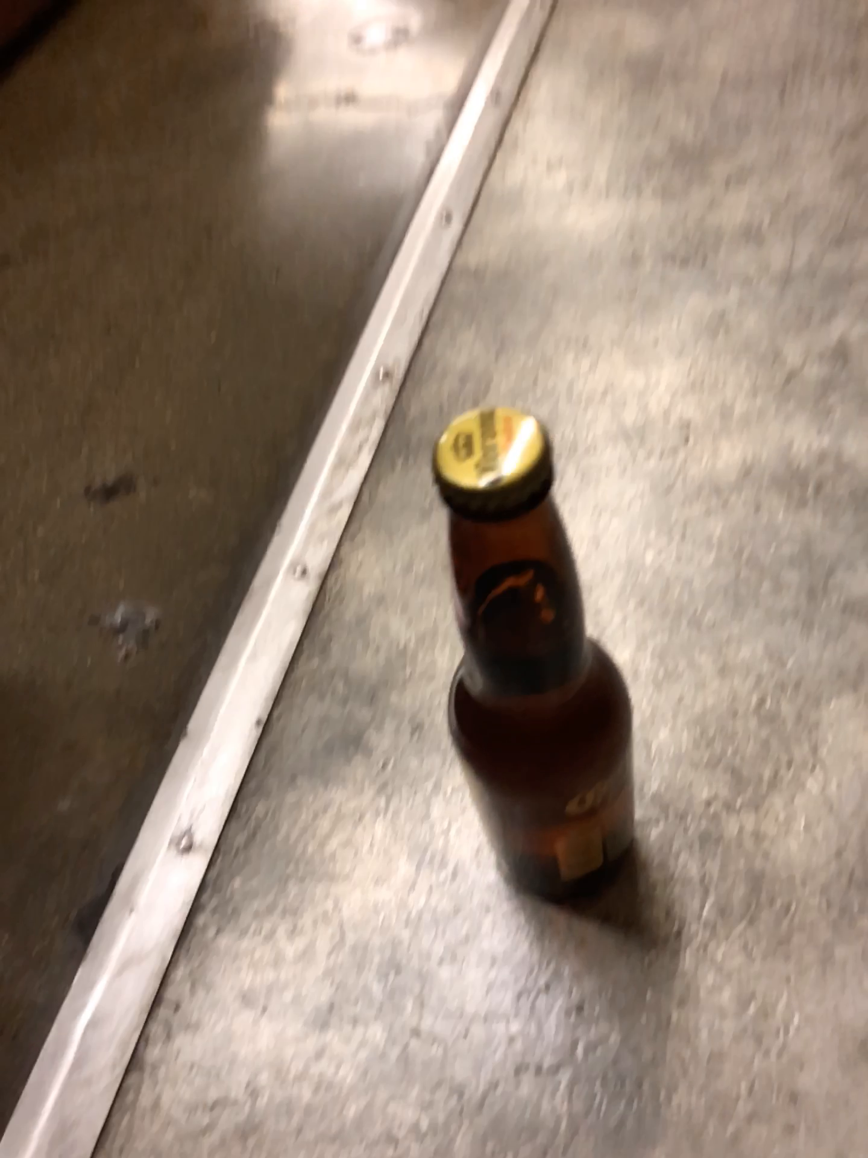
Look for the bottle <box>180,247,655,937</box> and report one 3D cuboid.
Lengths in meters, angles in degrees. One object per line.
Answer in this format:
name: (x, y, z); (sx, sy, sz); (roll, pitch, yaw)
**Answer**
bottle: (0.016, 0.024, 0.278); (0.070, 0.217, 0.070); (-6, 53, 8)
